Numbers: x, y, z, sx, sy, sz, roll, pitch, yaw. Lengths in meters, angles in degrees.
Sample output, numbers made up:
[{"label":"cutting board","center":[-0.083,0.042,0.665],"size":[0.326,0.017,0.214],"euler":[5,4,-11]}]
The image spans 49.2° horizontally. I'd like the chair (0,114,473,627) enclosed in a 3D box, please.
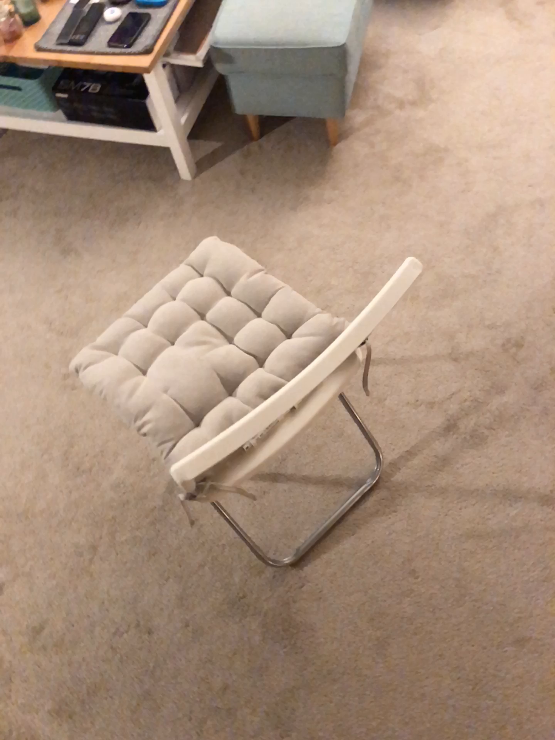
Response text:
[{"label":"chair","center":[-0.061,0.045,1.150],"size":[0.511,0.668,0.541],"euler":[-42,63,-15]}]
